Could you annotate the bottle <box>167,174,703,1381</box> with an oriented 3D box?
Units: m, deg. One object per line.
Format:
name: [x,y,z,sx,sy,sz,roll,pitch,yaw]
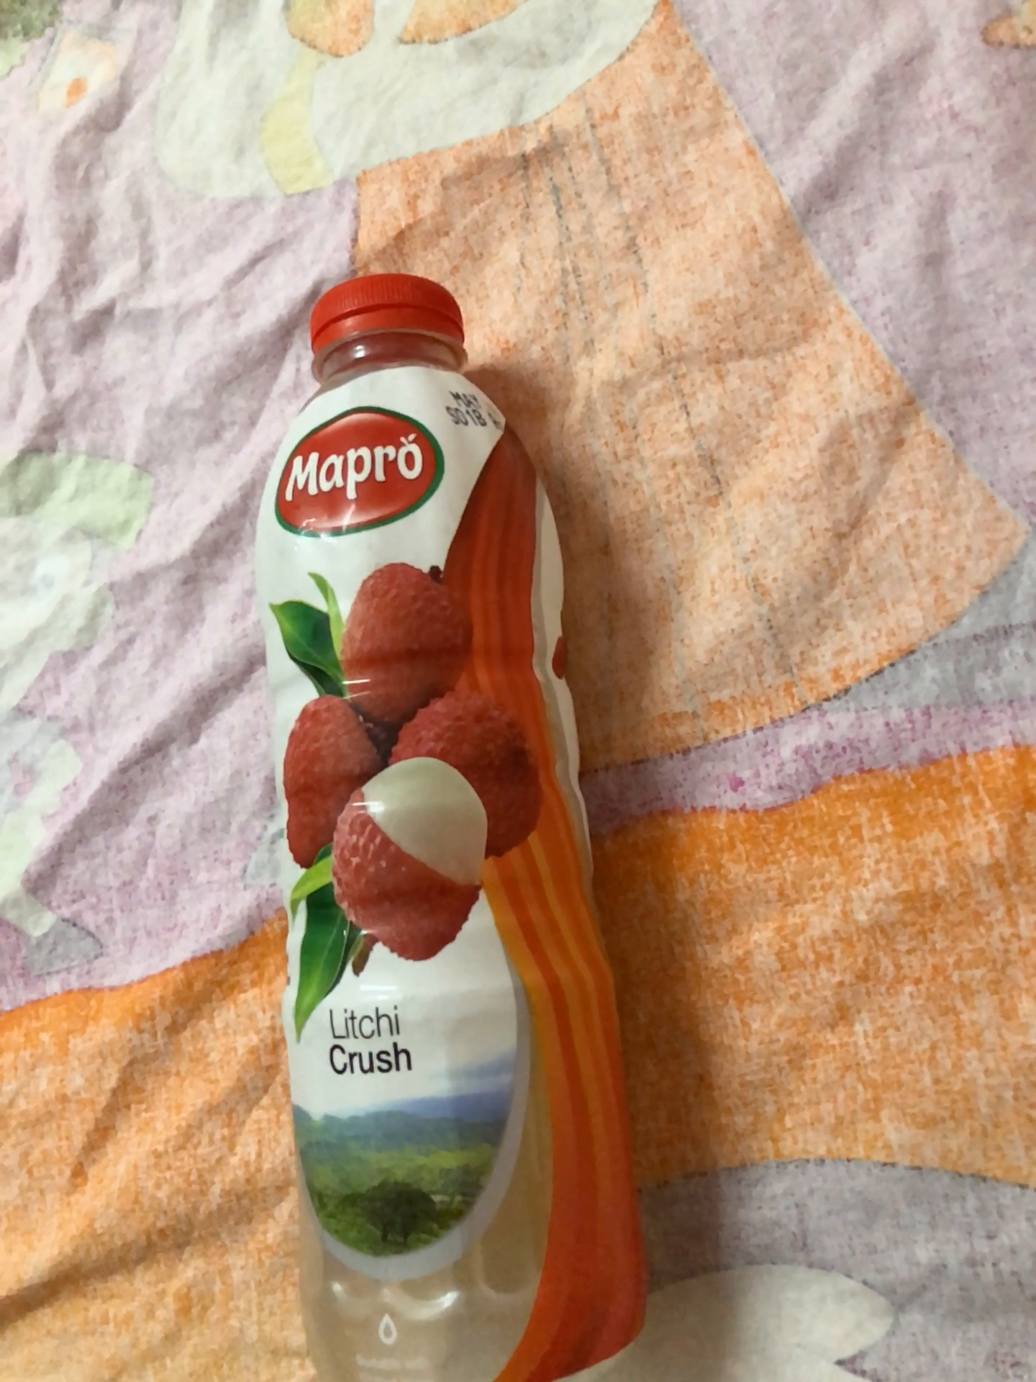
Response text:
bottle: [-0.021,0.027,0.271,0.080,0.070,0.260,-10,80,23]
